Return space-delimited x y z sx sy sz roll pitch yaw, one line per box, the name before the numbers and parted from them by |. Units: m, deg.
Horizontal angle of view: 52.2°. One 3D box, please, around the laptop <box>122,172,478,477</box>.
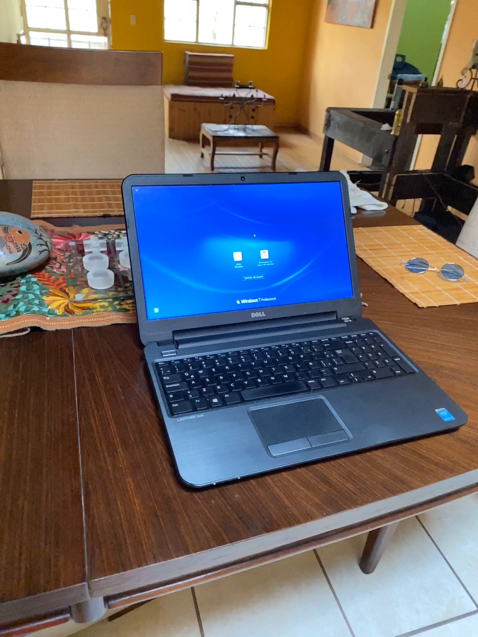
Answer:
laptop | 0.060 -0.044 0.670 0.368 0.194 0.397 -7 34 -20
